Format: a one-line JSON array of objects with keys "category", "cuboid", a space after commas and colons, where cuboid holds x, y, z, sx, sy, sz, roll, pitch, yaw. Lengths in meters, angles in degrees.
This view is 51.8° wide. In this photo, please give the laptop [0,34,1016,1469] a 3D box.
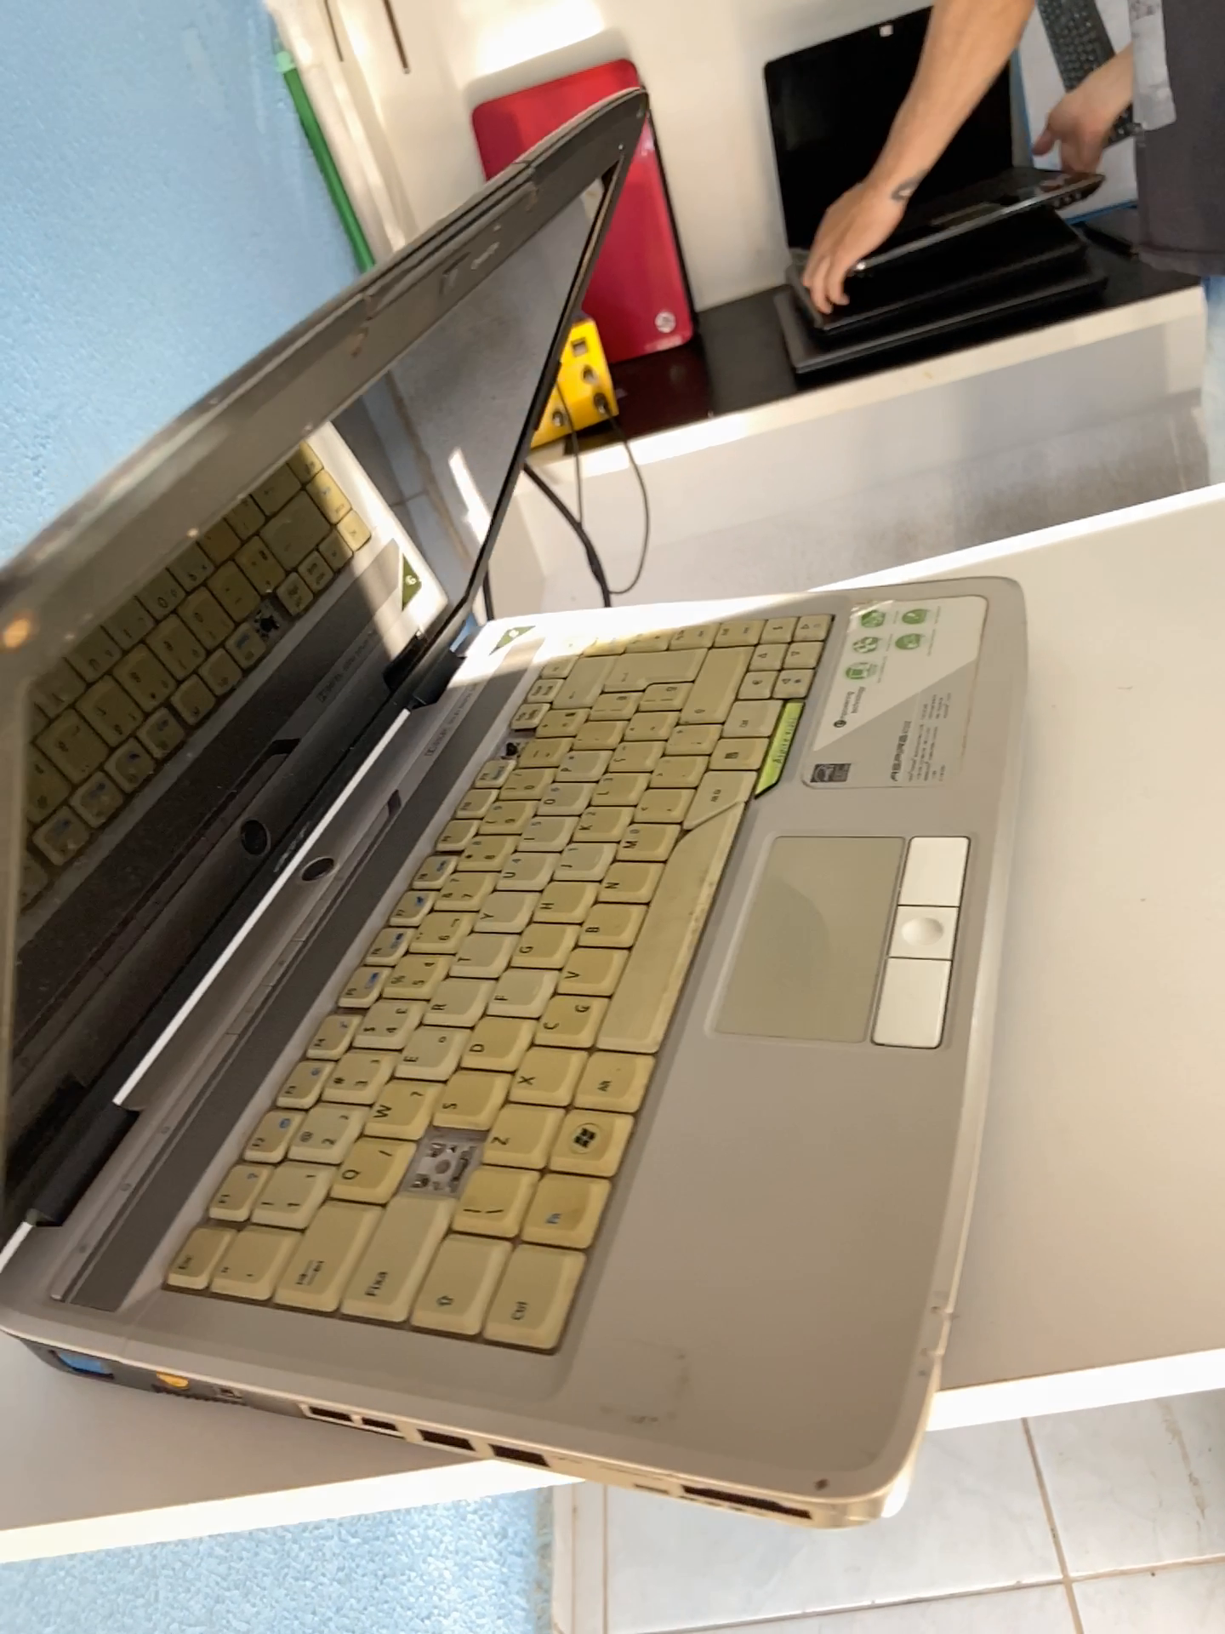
[{"category": "laptop", "cuboid": [-0.030, -0.053, 0.344, 0.225, 0.179, 0.330, -1, 39, 24]}]
